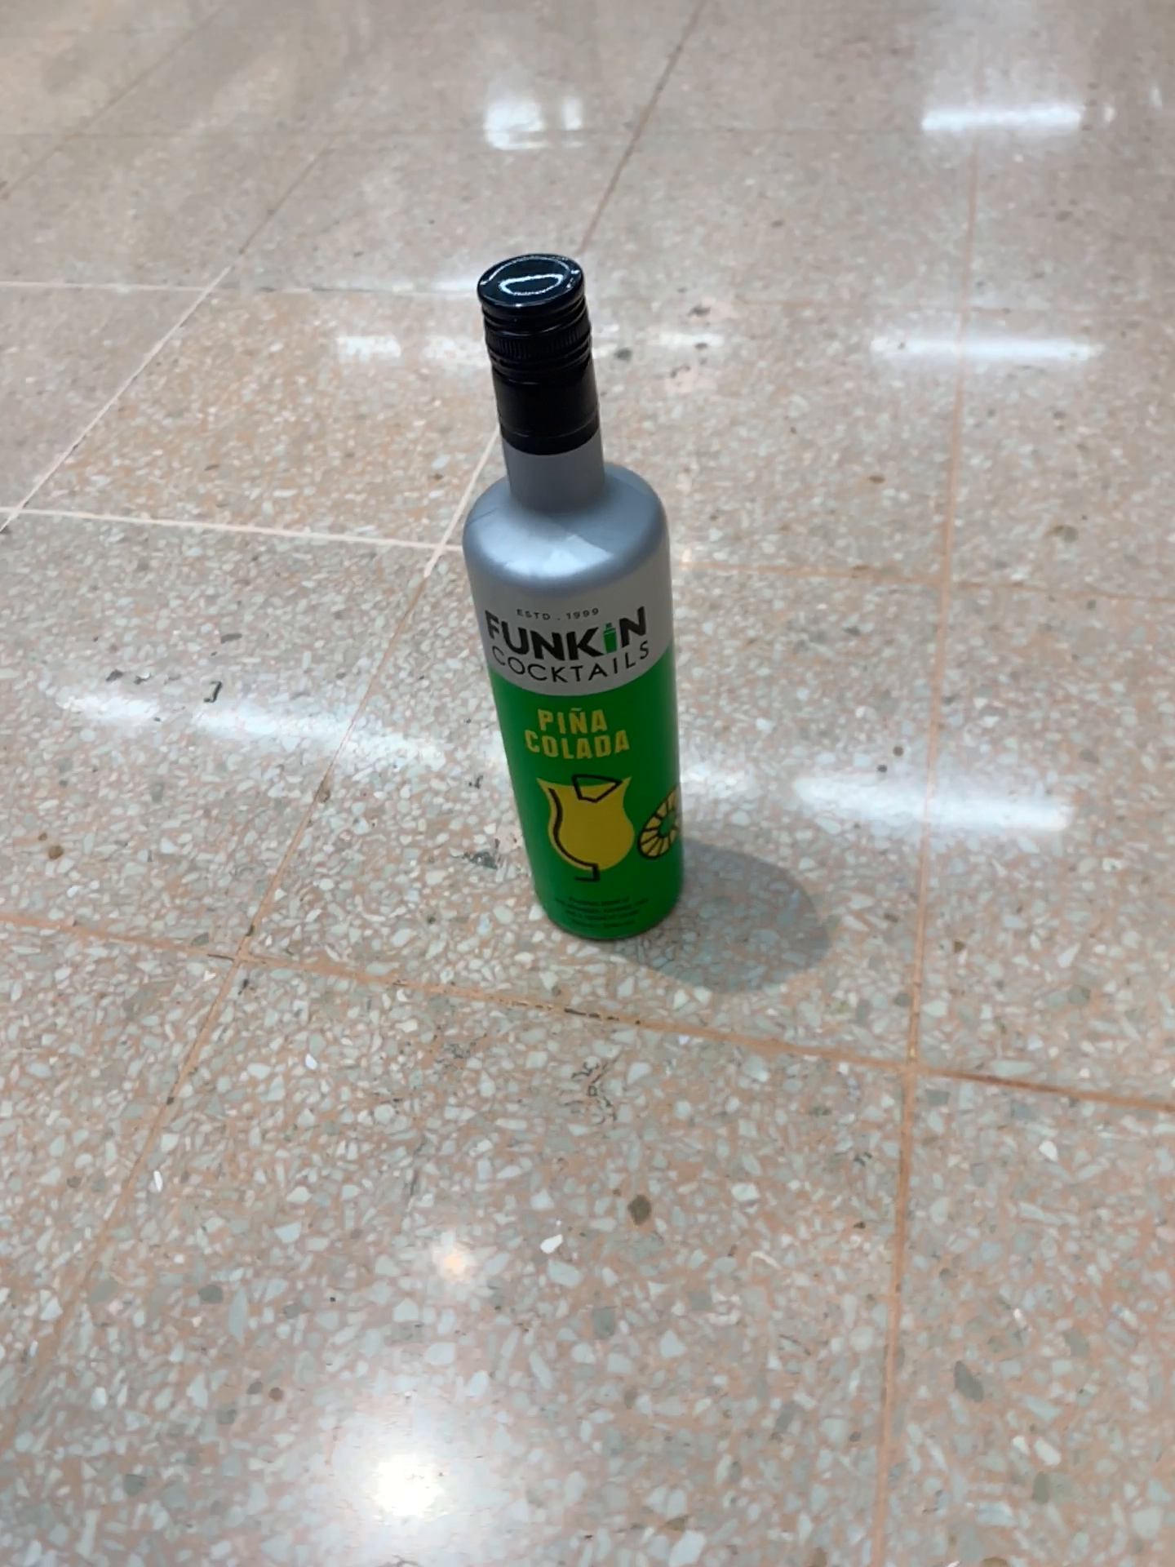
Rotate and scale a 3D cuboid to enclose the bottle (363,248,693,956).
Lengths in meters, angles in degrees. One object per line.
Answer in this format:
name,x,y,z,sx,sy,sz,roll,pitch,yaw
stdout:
bottle,-0.006,-0.045,0.456,0.073,0.284,0.067,-4,49,4
